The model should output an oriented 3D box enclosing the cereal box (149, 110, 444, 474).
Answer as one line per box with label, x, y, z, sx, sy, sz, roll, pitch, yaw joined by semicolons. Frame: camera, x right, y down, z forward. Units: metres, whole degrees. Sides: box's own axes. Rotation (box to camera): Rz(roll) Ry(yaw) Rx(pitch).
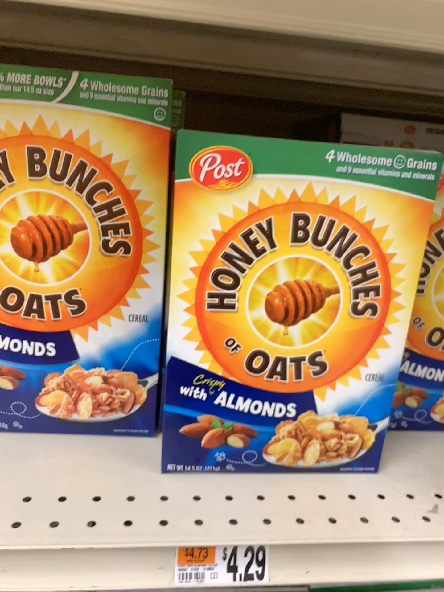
cereal box;0.048;0.008;0.378;0.200;0.279;0.060;3;17;-7
